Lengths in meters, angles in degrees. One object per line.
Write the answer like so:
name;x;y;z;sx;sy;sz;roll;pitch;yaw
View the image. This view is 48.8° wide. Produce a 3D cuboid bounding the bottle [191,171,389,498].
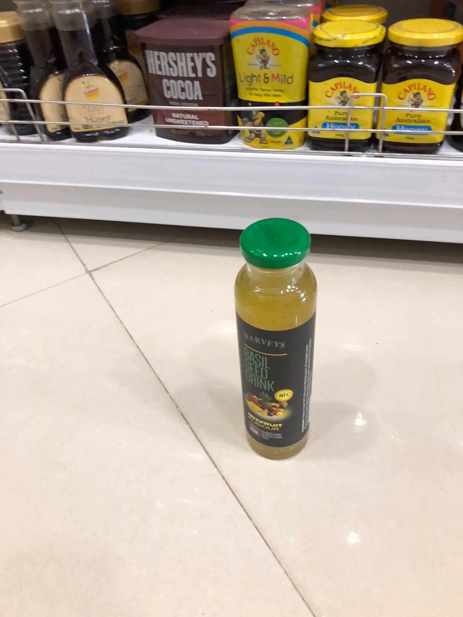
bottle;0.038;0.025;0.334;0.080;0.199;0.070;21;47;27
